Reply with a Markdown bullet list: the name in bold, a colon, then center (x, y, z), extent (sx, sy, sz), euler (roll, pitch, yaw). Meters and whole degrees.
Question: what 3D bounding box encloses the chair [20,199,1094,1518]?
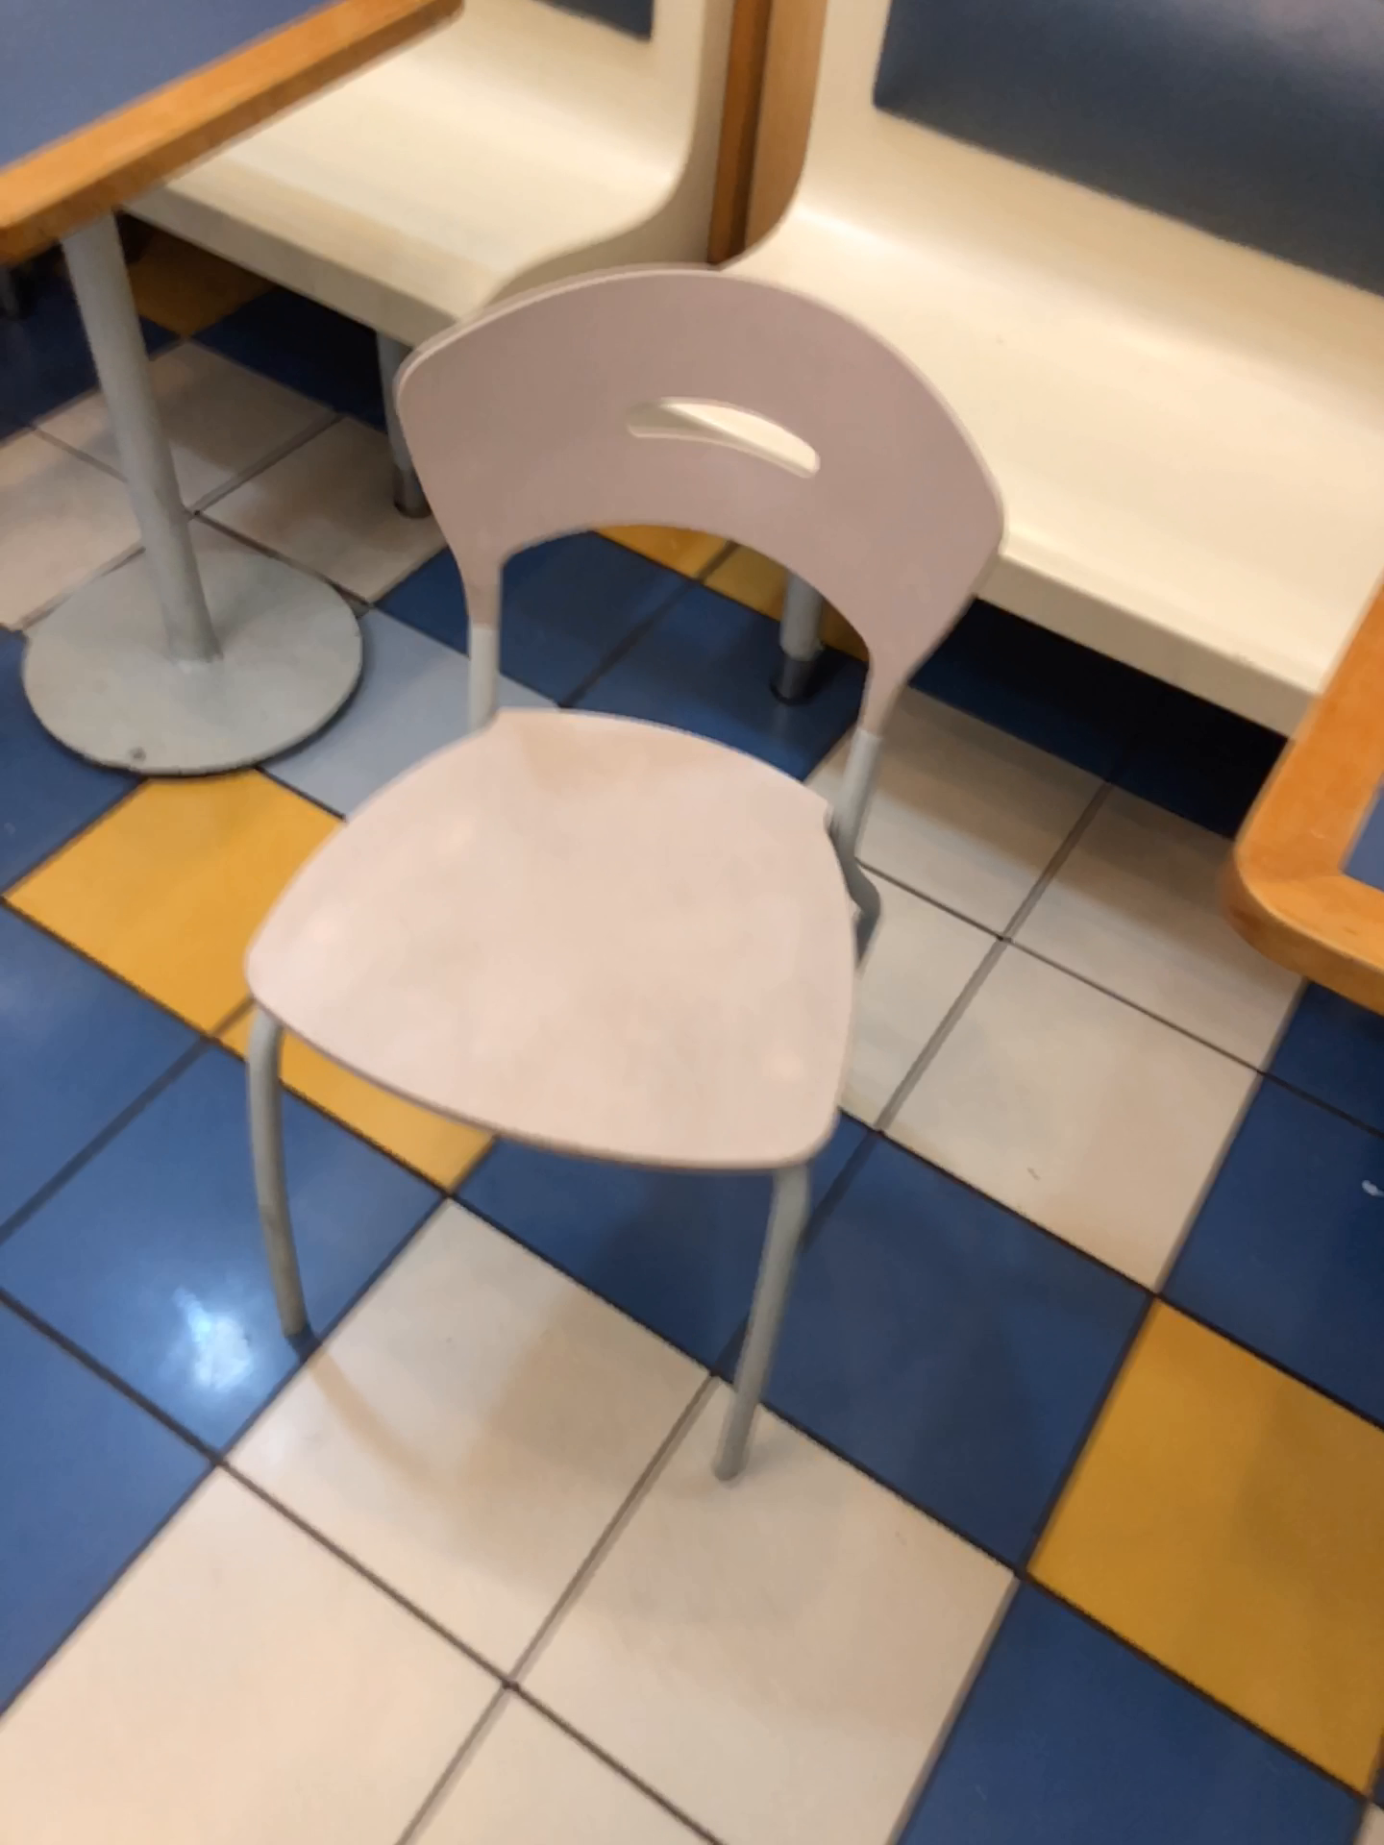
- **chair**: center (-0.056, 0.002, 1.131), extent (0.440, 0.775, 0.513), euler (16, 52, 7)
